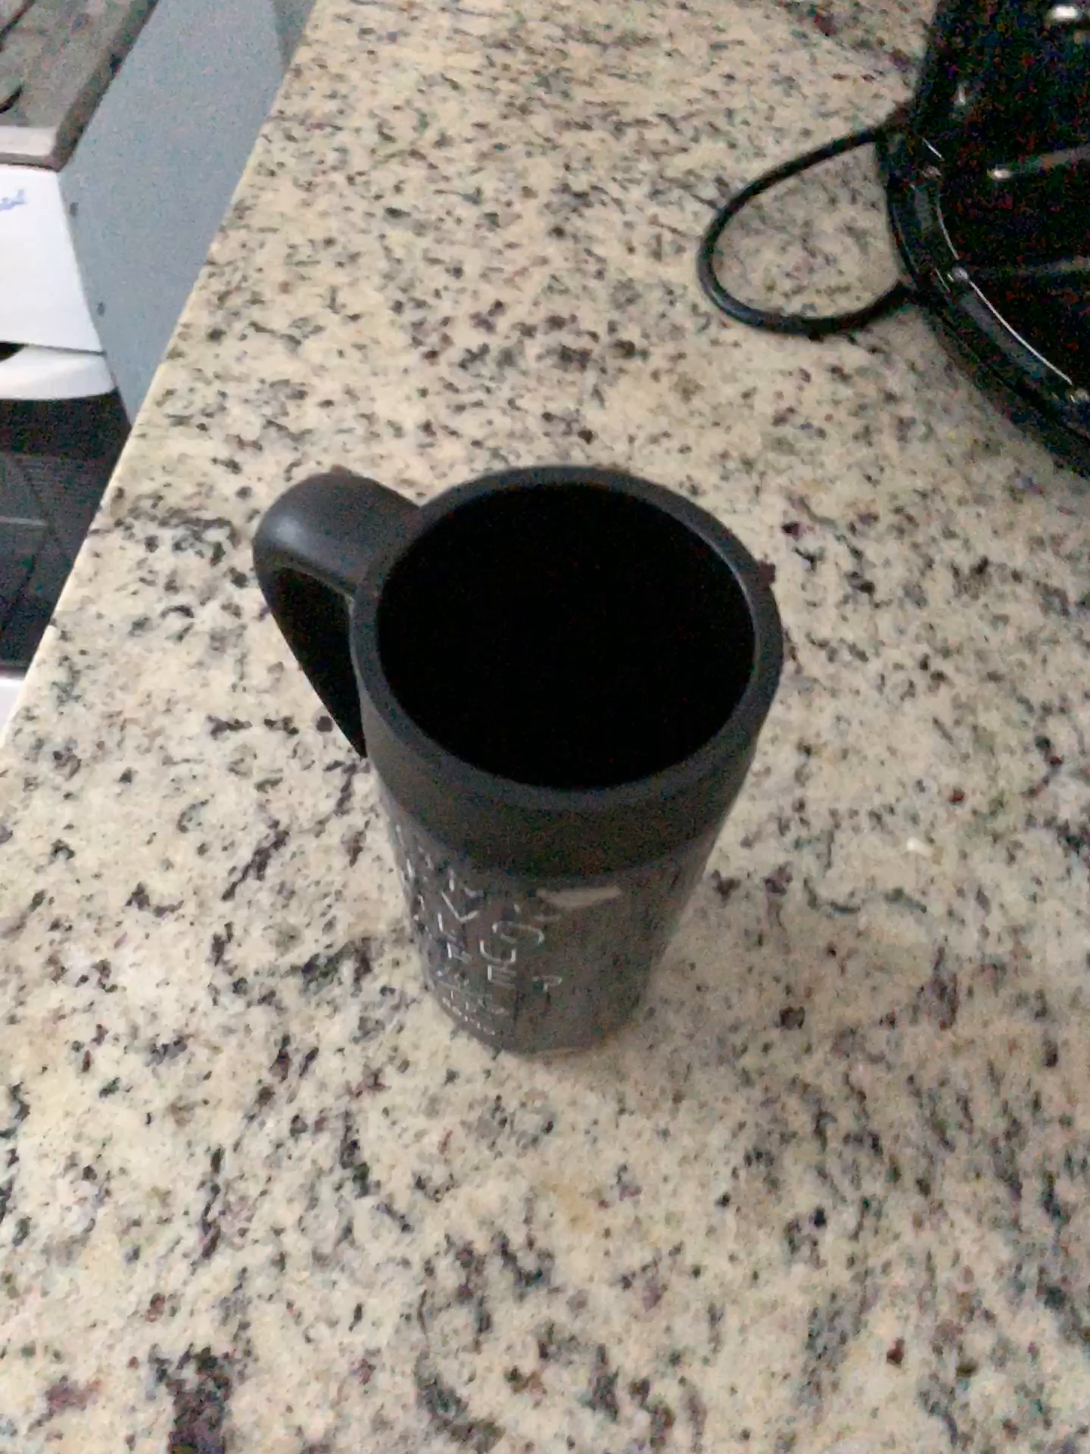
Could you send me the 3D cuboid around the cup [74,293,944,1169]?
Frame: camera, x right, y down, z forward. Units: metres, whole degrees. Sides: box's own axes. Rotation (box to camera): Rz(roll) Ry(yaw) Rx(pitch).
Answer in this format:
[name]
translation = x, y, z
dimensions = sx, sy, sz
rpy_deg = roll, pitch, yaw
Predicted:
[cup]
translation = -0.009, 0.010, 0.245
dimensions = 0.120, 0.140, 0.080
rpy_deg = 34, 62, 17
